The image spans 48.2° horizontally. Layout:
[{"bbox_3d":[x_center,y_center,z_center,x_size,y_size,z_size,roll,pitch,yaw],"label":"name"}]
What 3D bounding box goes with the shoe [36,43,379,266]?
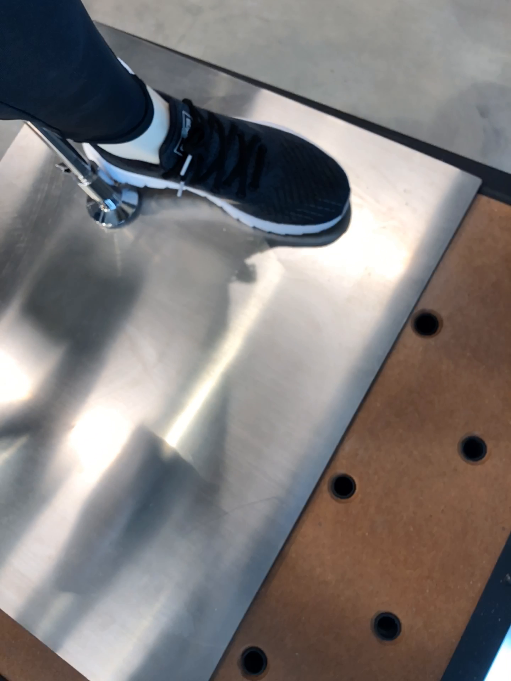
[{"bbox_3d":[-0.042,-0.175,0.557,0.290,0.100,0.110,18,91,7],"label":"shoe"}]
